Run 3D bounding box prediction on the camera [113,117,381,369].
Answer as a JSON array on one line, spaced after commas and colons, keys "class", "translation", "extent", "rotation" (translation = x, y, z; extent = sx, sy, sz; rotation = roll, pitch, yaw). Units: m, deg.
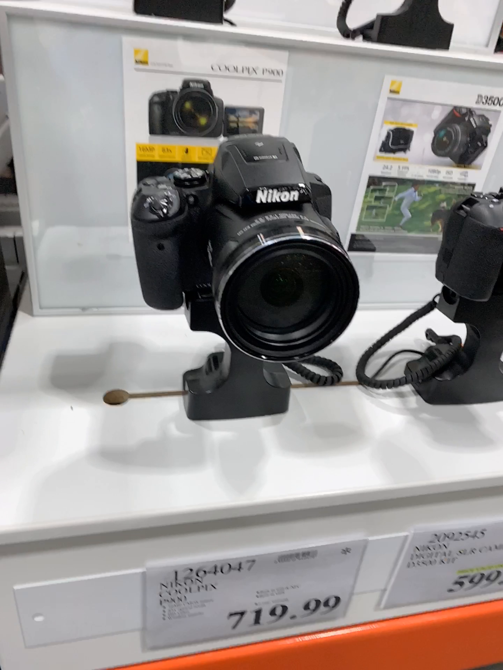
[{"class": "camera", "translation": [-0.014, -0.071, 0.339], "extent": [0.130, 0.109, 0.151], "rotation": [-4, 32, -9]}]
